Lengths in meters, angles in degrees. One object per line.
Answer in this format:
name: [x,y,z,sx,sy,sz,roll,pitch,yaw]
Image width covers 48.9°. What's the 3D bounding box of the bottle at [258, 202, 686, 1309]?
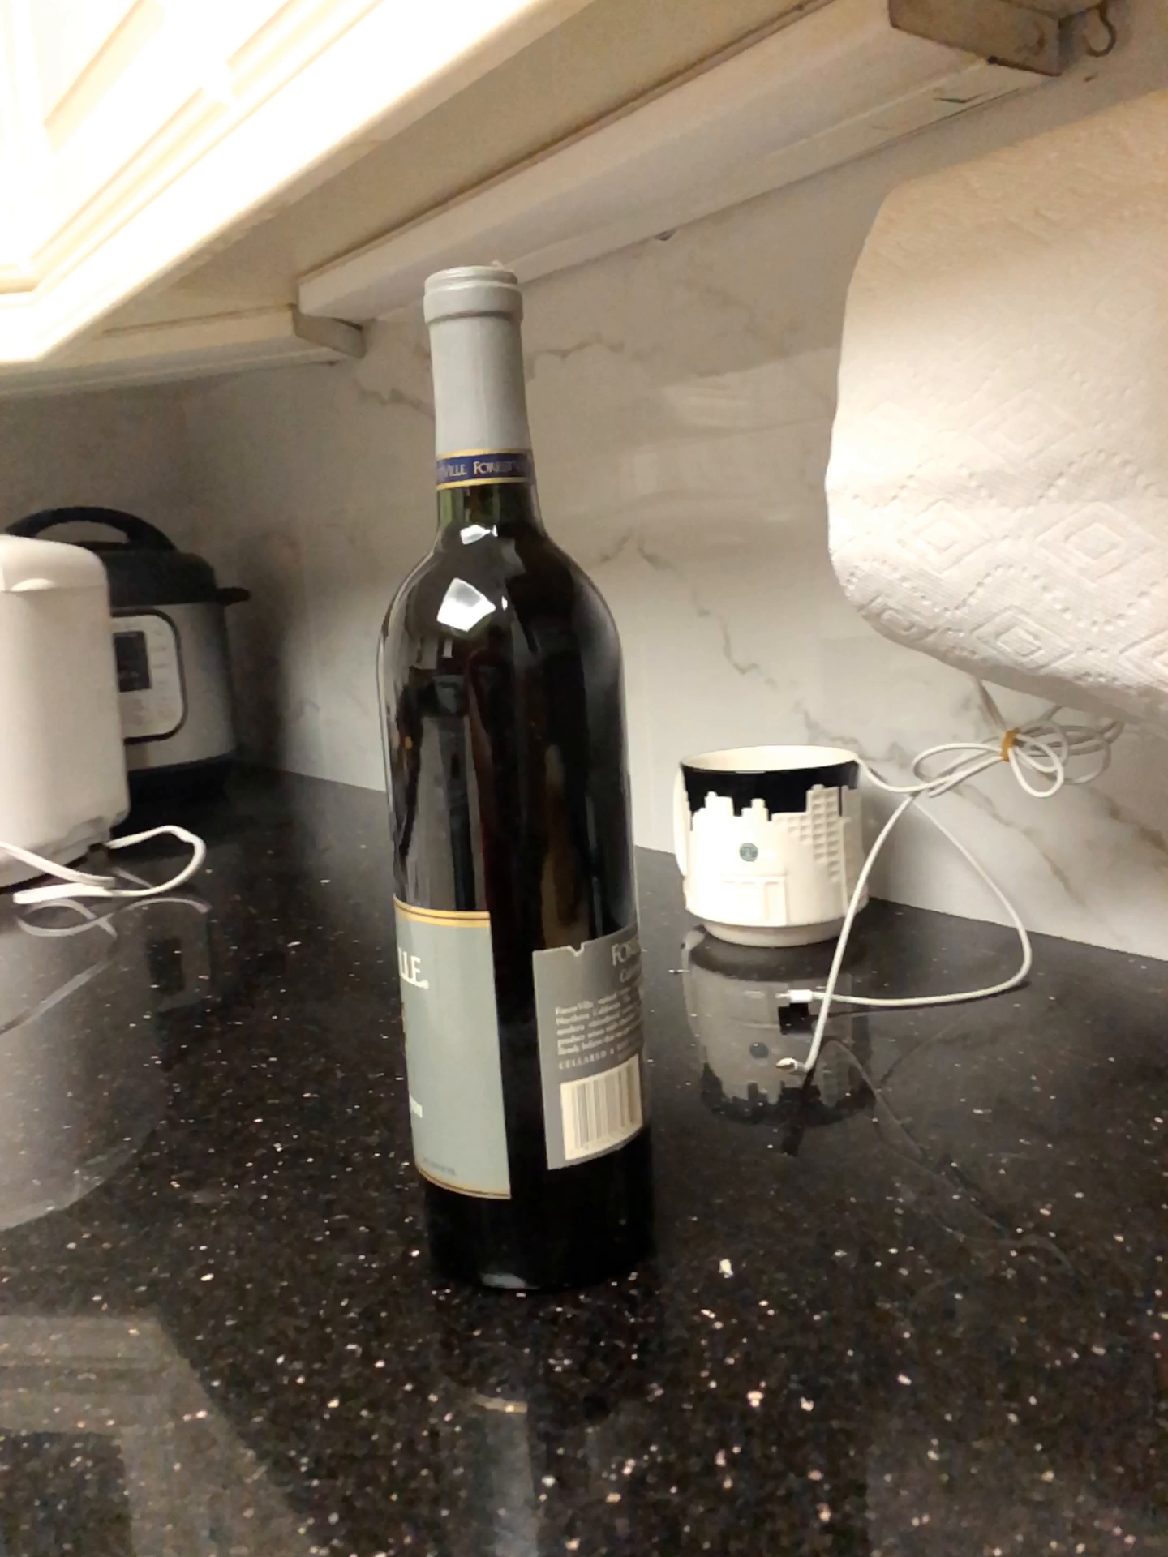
bottle: [-0.026,-0.002,0.392,0.090,0.299,0.080,-2,9,12]
